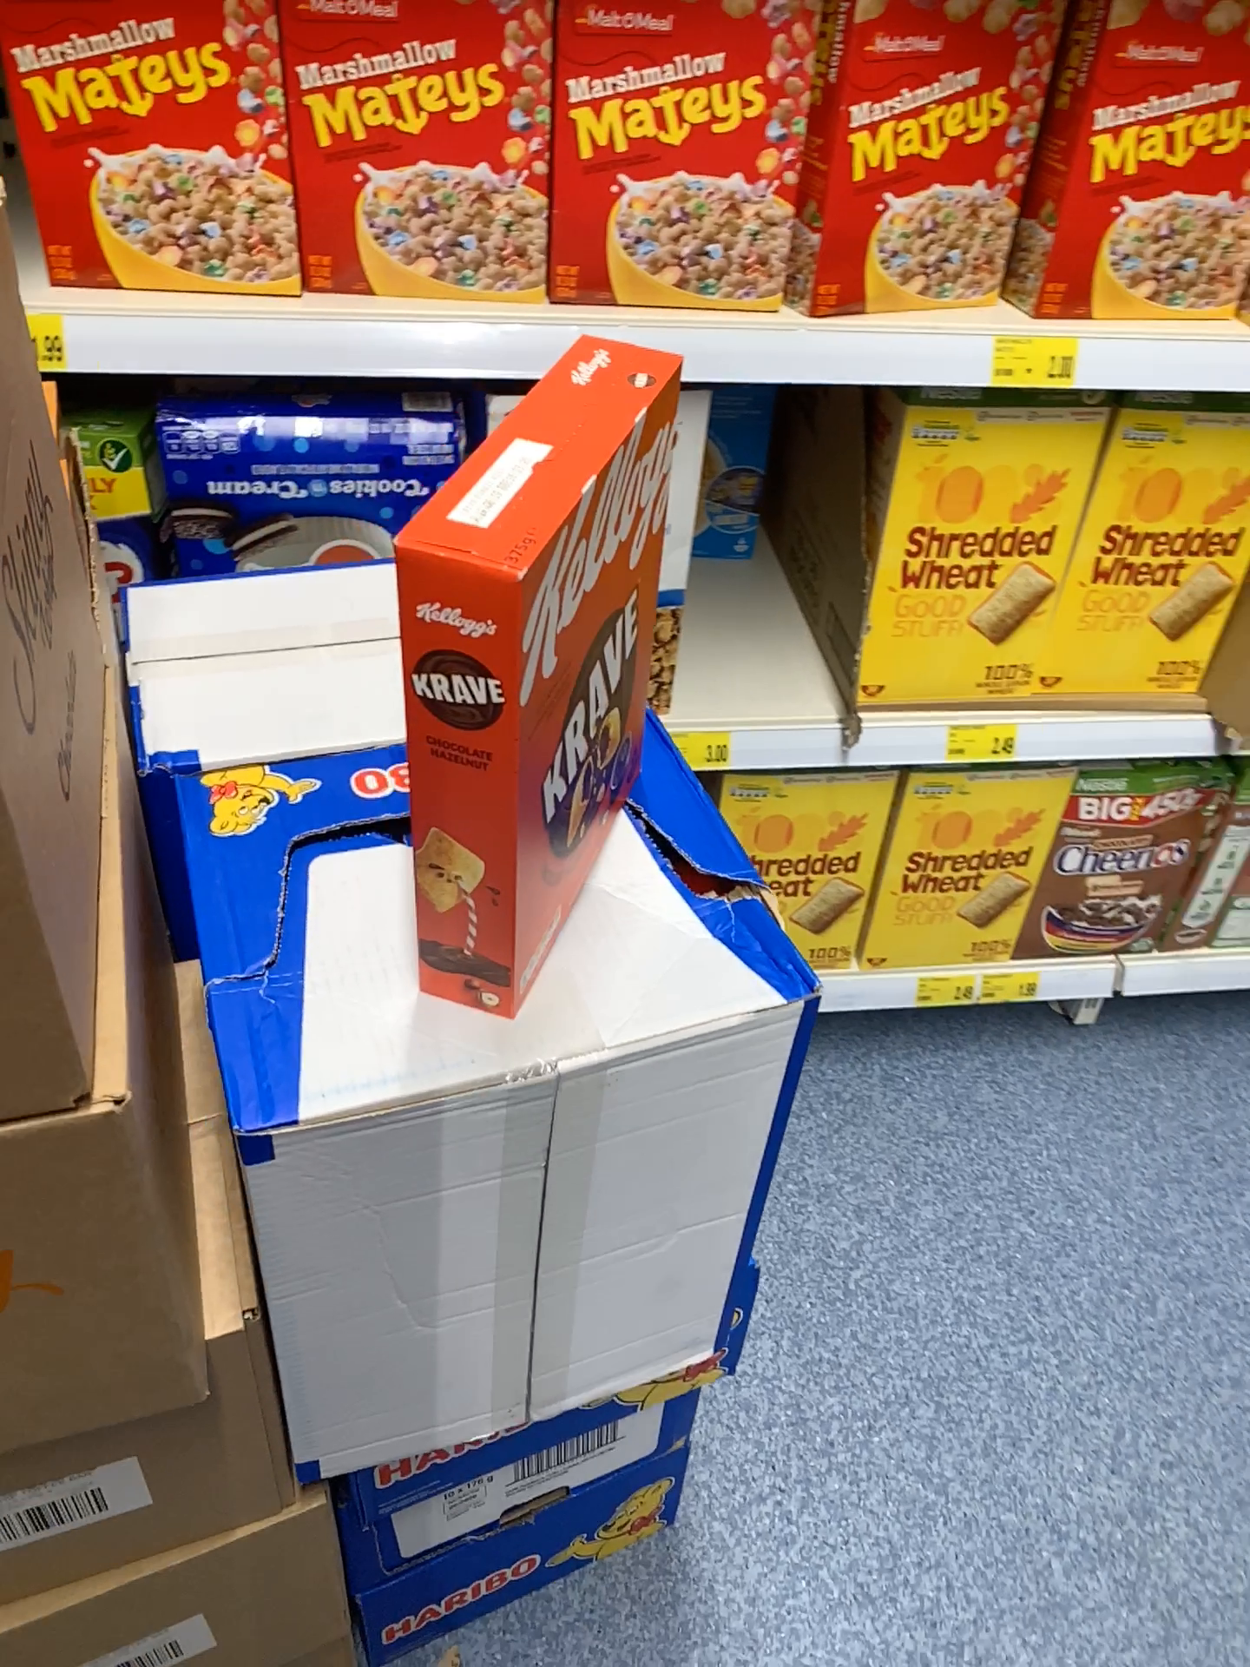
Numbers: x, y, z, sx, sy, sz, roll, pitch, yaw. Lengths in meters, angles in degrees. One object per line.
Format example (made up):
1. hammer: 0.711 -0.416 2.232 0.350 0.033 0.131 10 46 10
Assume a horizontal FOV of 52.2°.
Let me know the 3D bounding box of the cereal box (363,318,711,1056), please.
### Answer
1. cereal box: -0.034 -0.062 0.549 0.060 0.238 0.202 16 43 10
